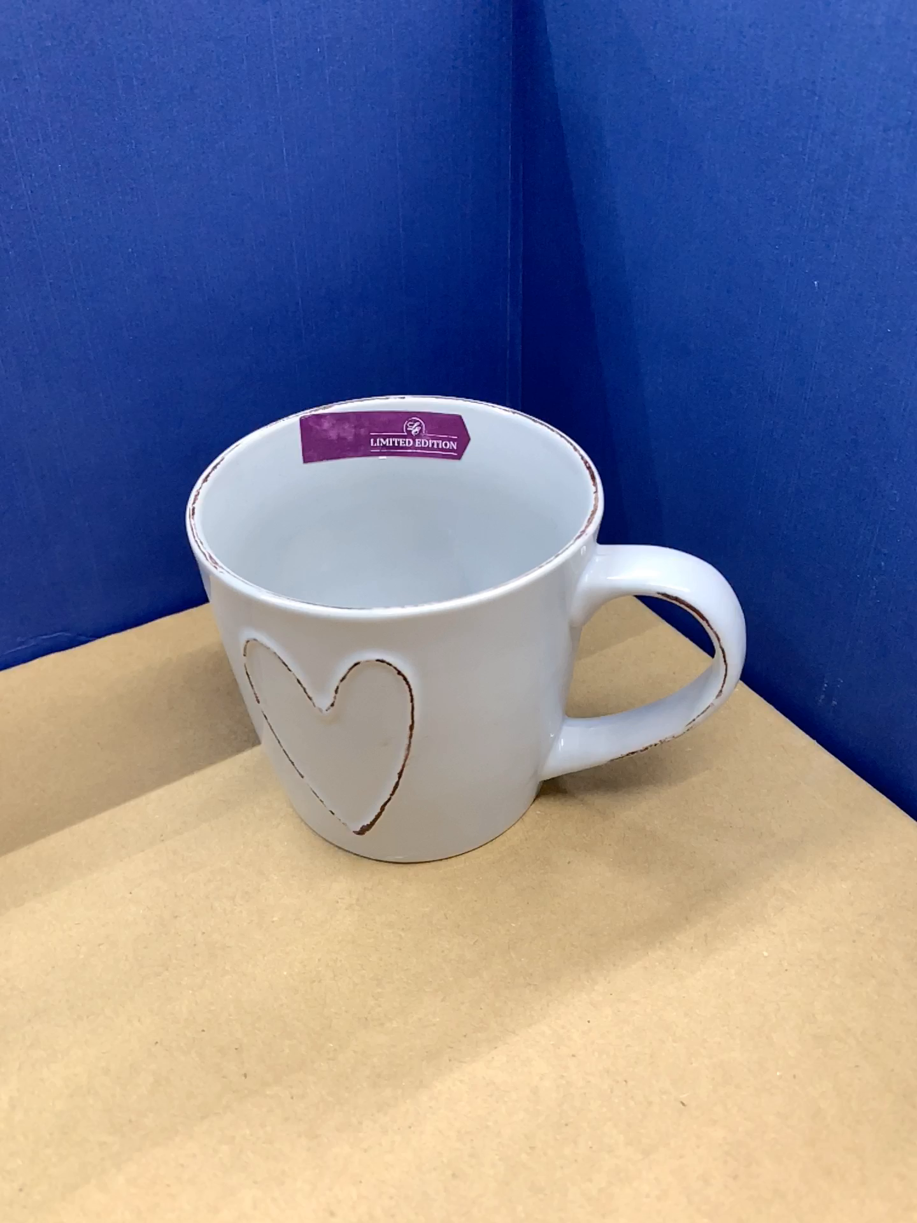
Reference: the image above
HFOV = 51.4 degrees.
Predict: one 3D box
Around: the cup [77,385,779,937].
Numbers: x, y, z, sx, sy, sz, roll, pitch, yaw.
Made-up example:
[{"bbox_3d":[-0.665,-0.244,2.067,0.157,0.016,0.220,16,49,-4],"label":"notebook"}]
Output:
[{"bbox_3d":[-0.001,0.006,0.228,0.124,0.085,0.091,4,36,7],"label":"cup"}]
